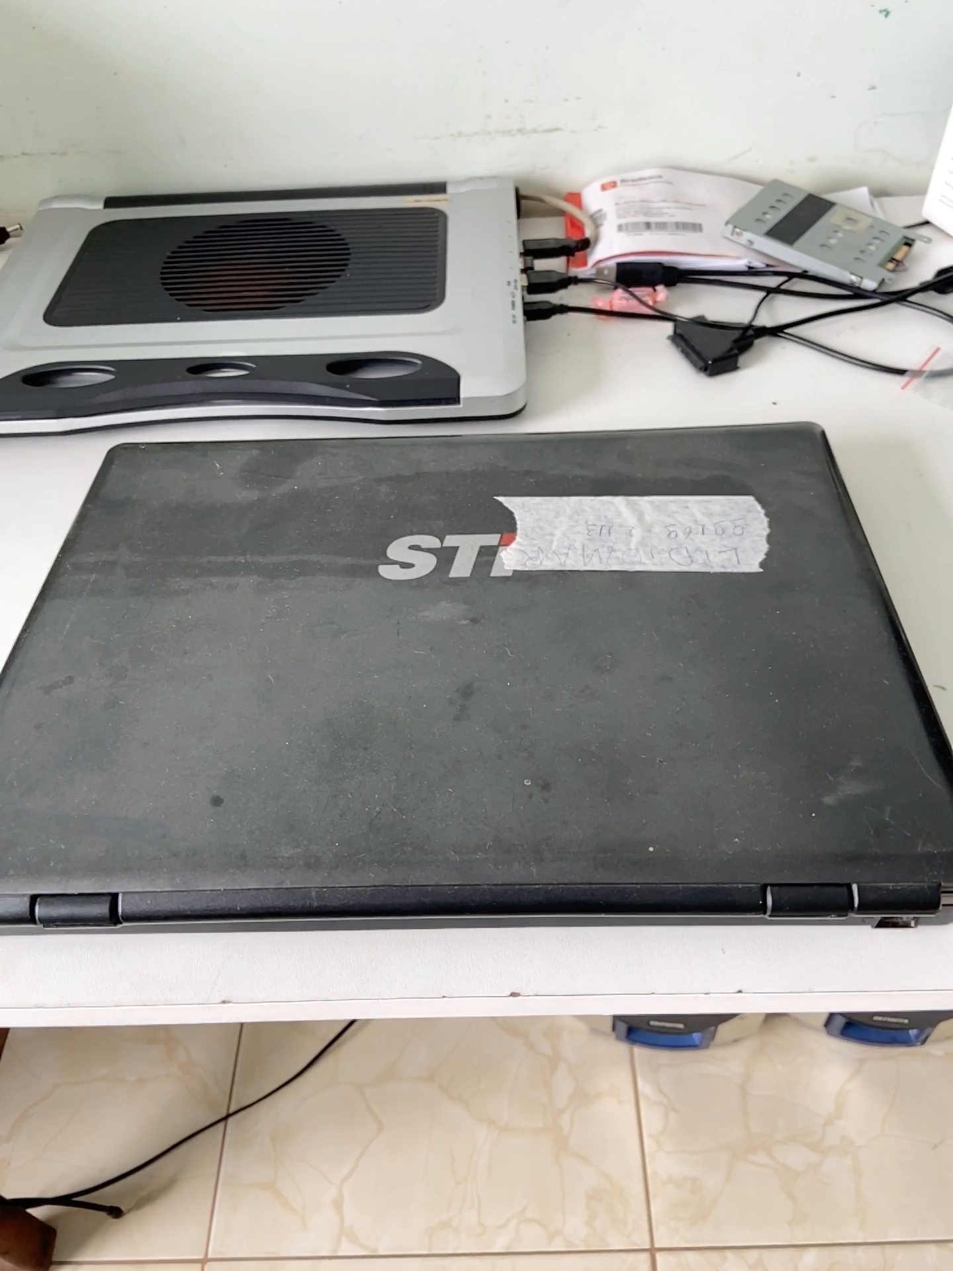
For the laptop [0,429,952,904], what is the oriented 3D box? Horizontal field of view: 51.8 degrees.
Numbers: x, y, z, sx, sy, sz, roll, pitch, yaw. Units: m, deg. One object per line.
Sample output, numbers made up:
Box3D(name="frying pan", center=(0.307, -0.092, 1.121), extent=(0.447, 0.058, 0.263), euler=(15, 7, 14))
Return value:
Box3D(name="laptop", center=(-0.012, -0.004, 0.388), extent=(0.337, 0.006, 0.235), euler=(-2, 46, 3))
